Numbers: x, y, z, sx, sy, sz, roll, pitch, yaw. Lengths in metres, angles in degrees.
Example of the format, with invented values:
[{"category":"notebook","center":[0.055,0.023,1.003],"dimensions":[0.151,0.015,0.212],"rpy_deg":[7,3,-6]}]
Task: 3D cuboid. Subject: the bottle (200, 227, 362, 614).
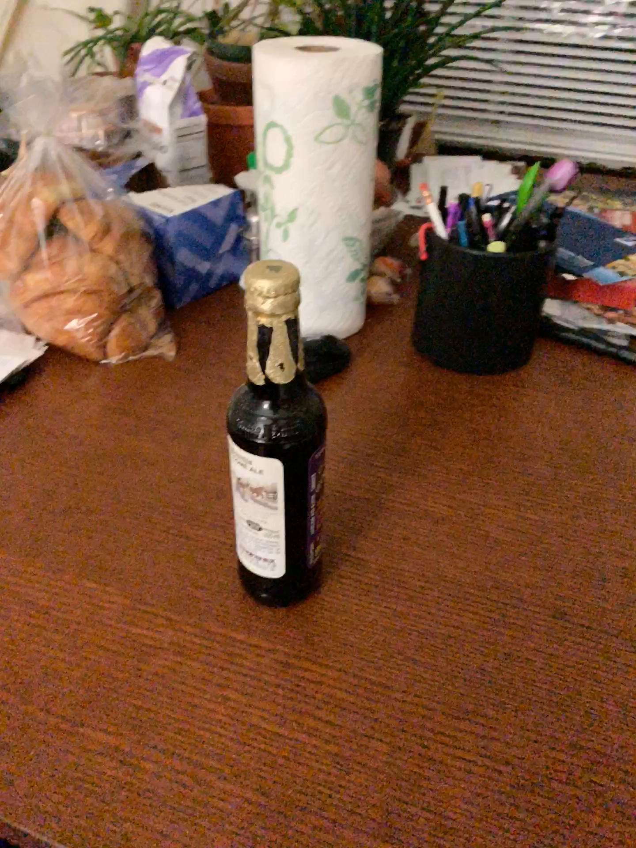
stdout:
[{"category":"bottle","center":[-0.019,0.010,0.383],"dimensions":[0.070,0.229,0.070],"rpy_deg":[1,38,-1]}]
